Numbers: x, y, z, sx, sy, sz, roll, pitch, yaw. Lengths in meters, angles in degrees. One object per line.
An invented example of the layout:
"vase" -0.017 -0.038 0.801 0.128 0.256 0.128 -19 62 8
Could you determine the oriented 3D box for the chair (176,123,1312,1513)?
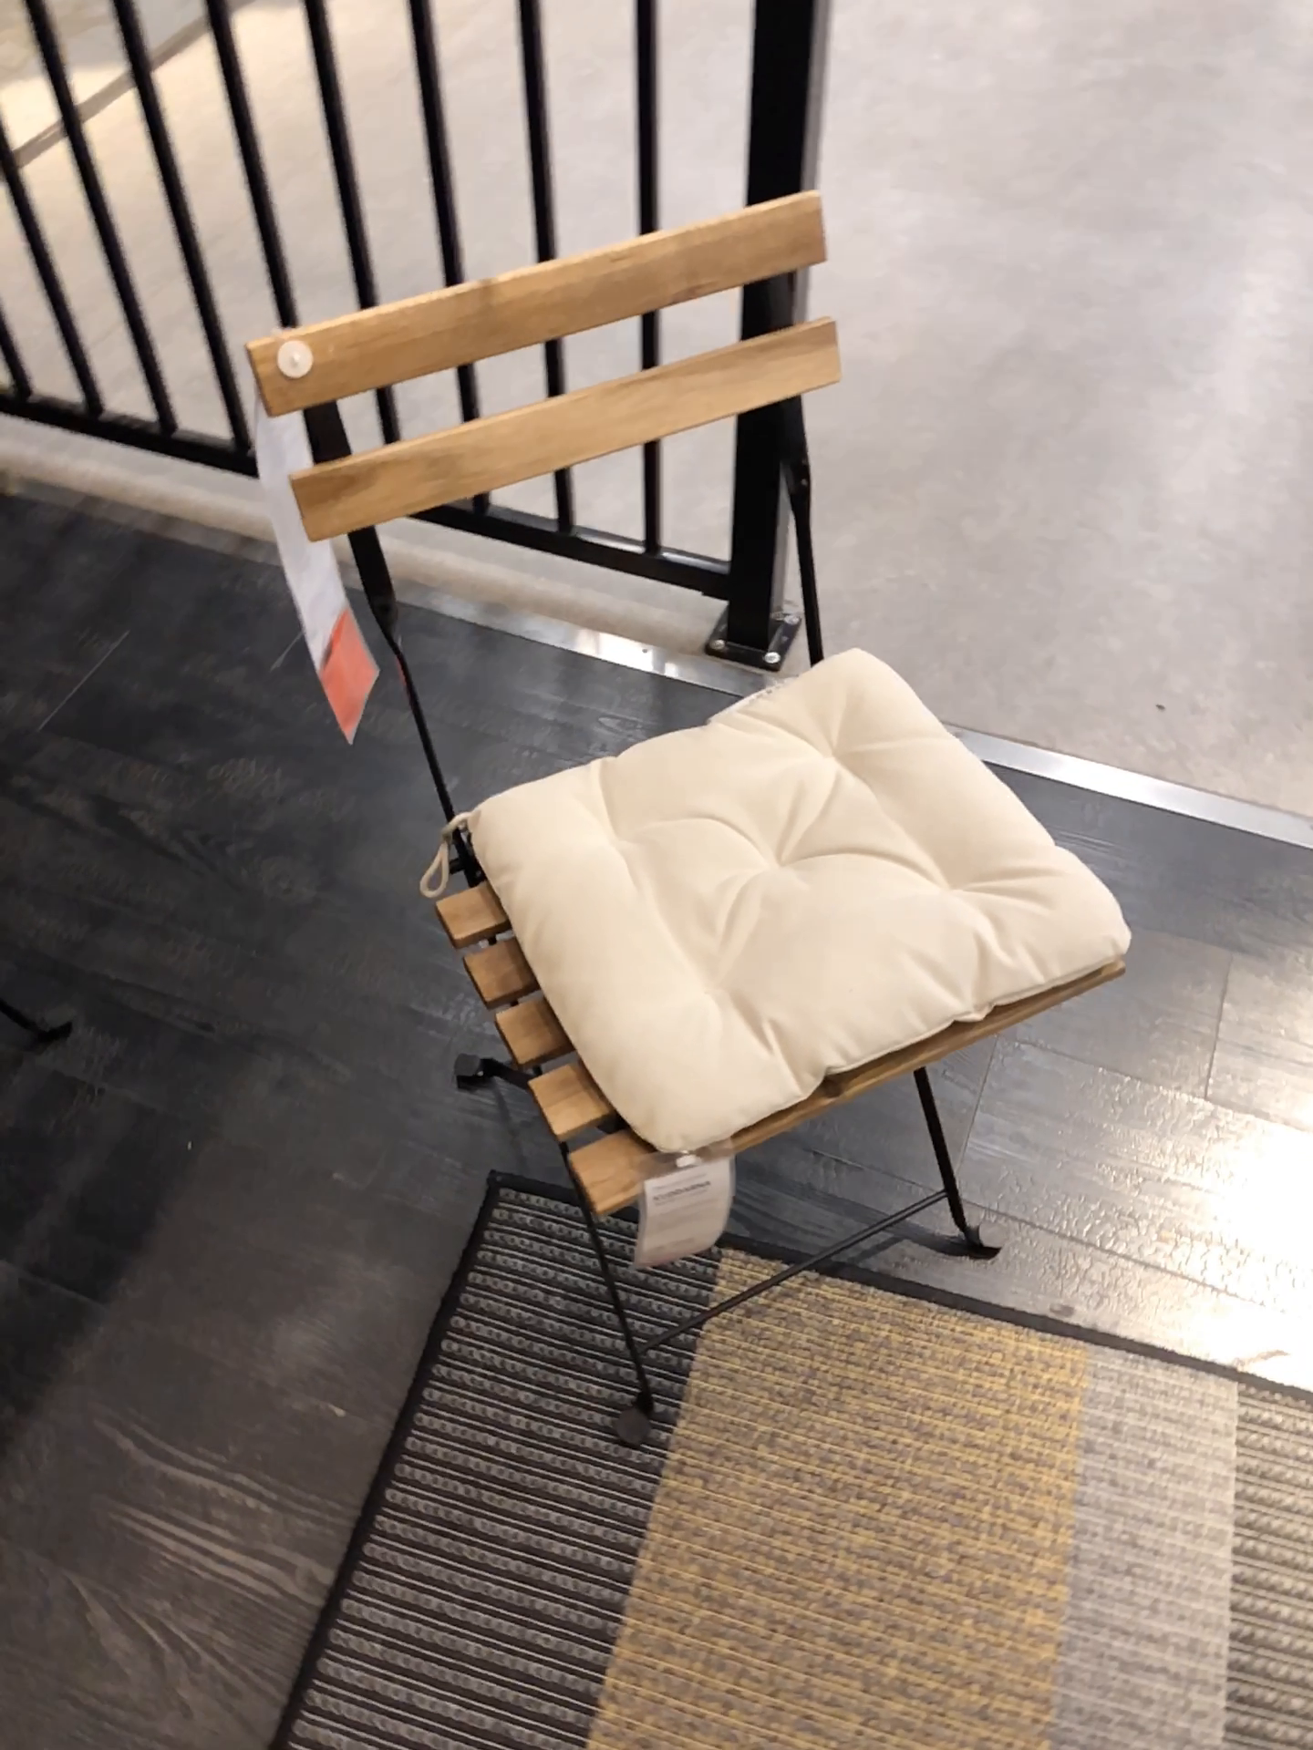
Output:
"chair" 0.052 0.010 1.000 0.450 0.758 0.461 -22 54 -16
